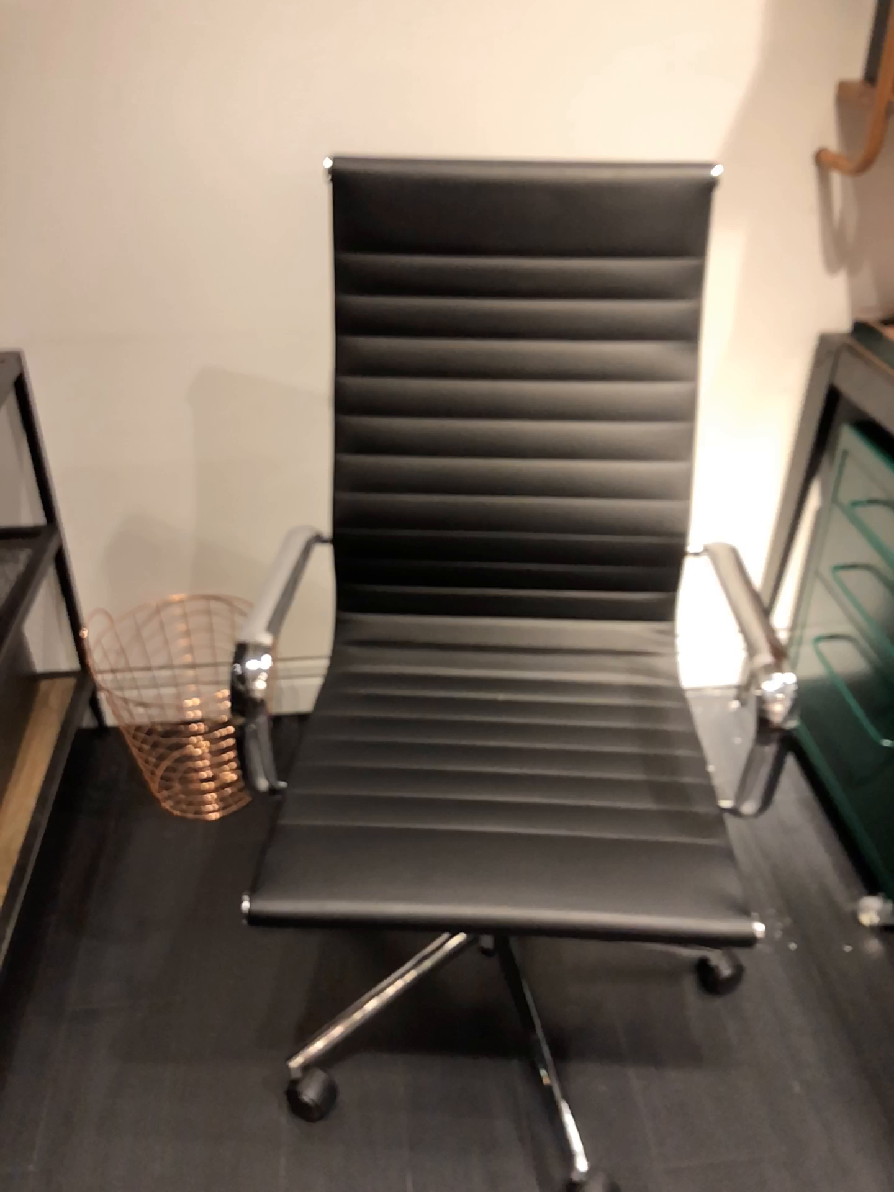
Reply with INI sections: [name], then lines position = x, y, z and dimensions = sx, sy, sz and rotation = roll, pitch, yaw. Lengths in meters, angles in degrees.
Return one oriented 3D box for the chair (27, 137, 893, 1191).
[chair]
position = 0.102, 0.102, 1.145
dimensions = 0.680, 1.052, 0.665
rotation = 2, 33, 2
